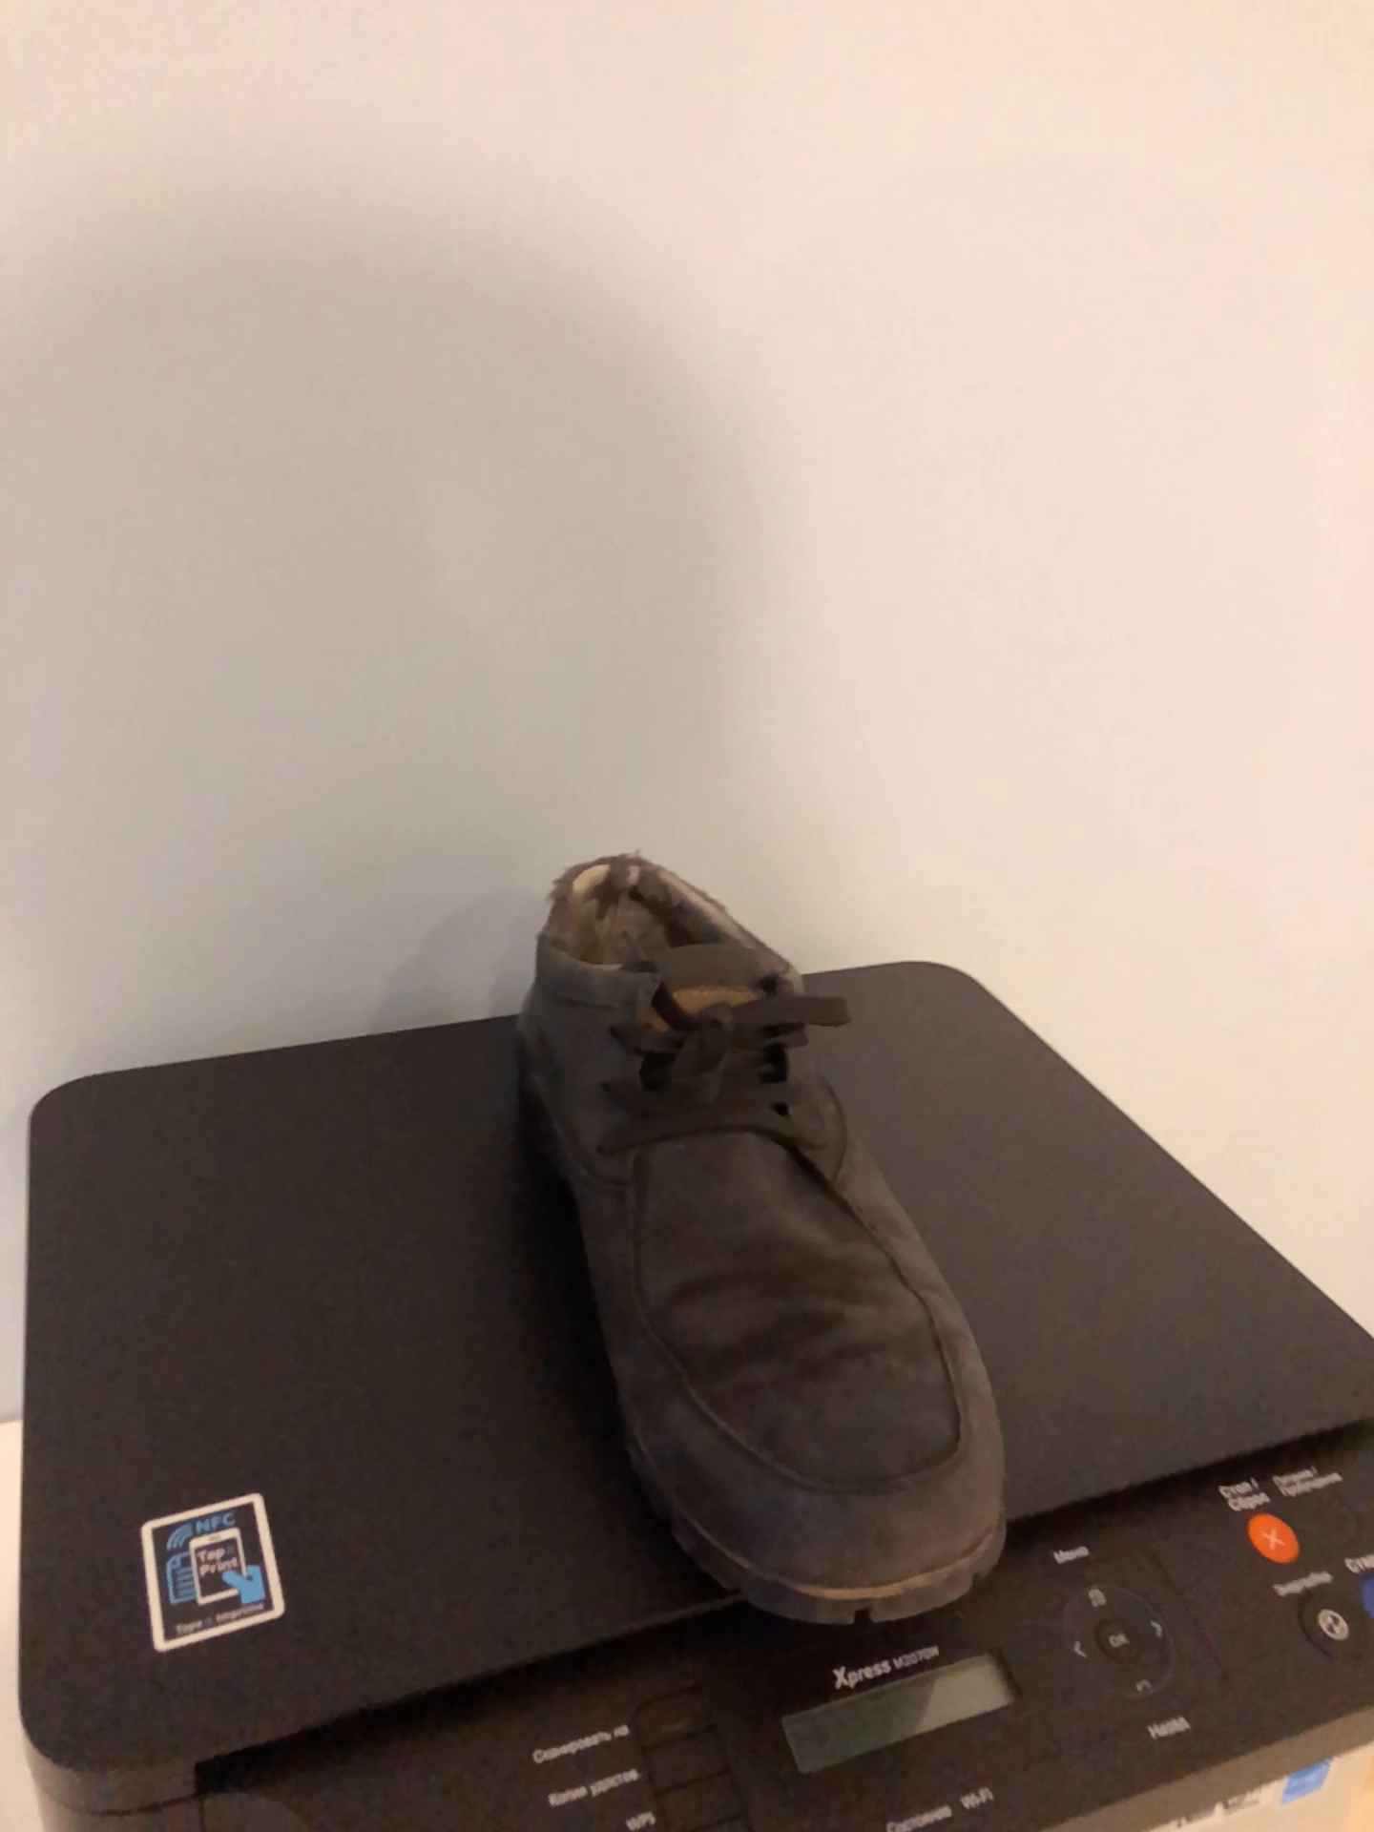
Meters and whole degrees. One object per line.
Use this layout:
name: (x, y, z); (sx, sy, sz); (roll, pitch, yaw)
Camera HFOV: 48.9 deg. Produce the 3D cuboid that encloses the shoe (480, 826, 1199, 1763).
shoe: (0.016, 0.081, 0.462); (0.110, 0.109, 0.282); (-5, 27, -17)
